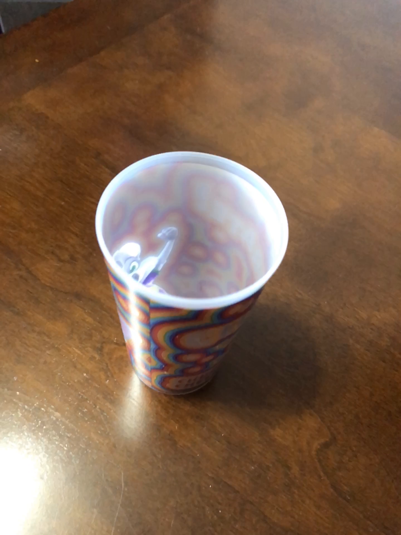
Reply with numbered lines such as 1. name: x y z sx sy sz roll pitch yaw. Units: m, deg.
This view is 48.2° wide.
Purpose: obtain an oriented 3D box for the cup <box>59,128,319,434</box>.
1. cup: -0.008 0.016 0.222 0.070 0.130 0.070 3 57 -5
